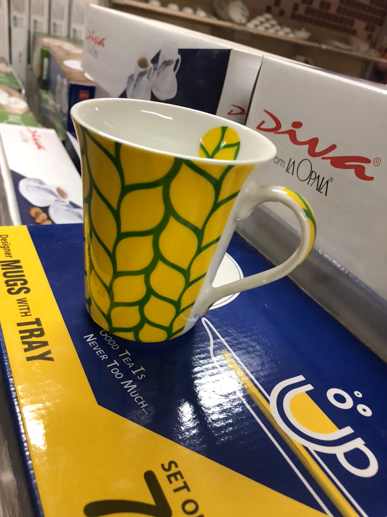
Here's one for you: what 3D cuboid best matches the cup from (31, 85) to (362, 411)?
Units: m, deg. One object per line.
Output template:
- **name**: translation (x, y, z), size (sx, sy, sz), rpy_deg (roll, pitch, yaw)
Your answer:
- **cup**: translation (0.001, -0.015, 0.192), size (0.110, 0.089, 0.080), rpy_deg (21, 29, 14)
